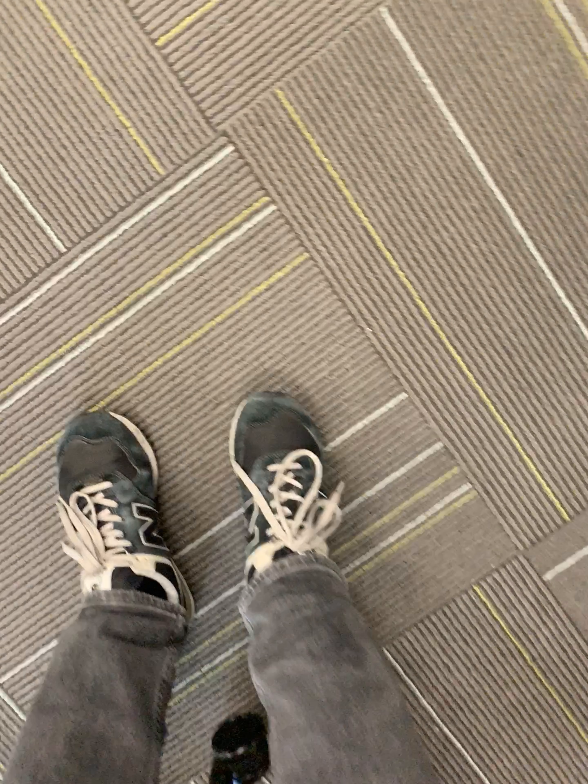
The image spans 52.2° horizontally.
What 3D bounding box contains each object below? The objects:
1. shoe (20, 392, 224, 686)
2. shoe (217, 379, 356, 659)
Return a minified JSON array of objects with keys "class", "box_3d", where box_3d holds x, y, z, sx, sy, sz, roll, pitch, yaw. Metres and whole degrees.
[{"class":"shoe","box_3d":[-0.184,0.163,0.675,0.121,0.071,0.295,-17,99,0]},{"class":"shoe","box_3d":[-0.007,0.141,0.679,0.119,0.071,0.294,-6,99,-1]}]
